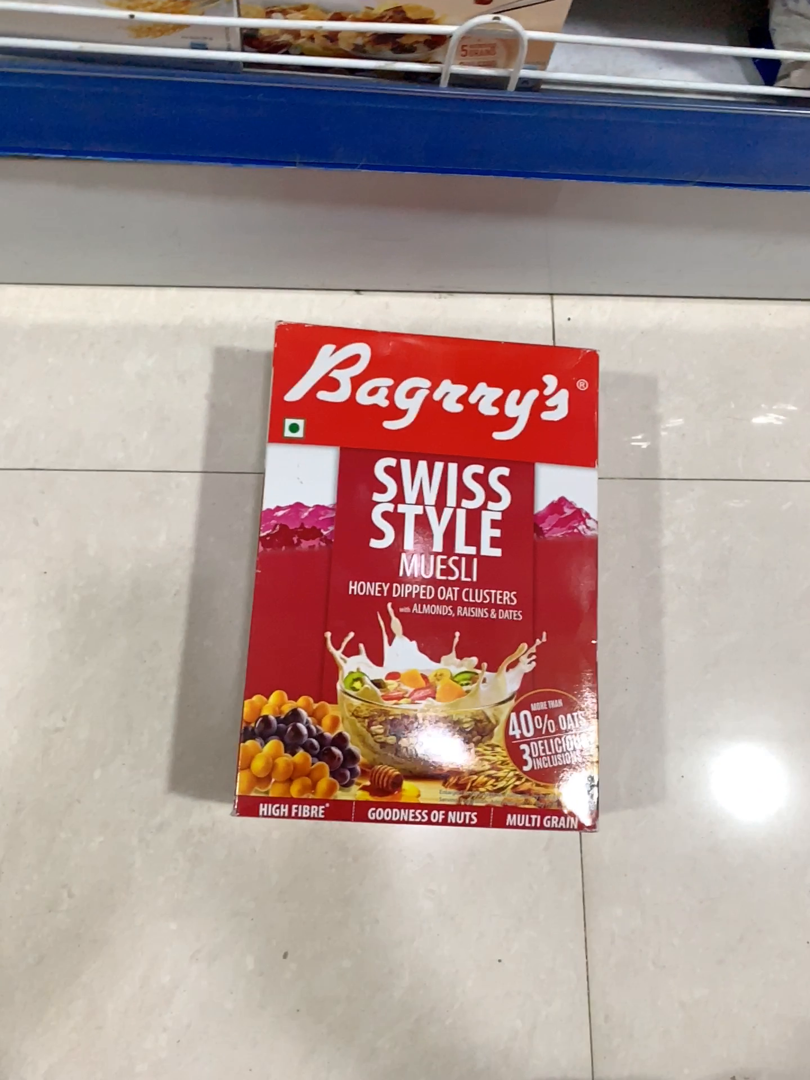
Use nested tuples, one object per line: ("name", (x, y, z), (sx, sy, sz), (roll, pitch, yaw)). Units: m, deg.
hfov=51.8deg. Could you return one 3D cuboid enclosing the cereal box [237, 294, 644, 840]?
("cereal box", (0.022, 0.015, 0.451), (0.190, 0.080, 0.260), (4, 78, -5))
